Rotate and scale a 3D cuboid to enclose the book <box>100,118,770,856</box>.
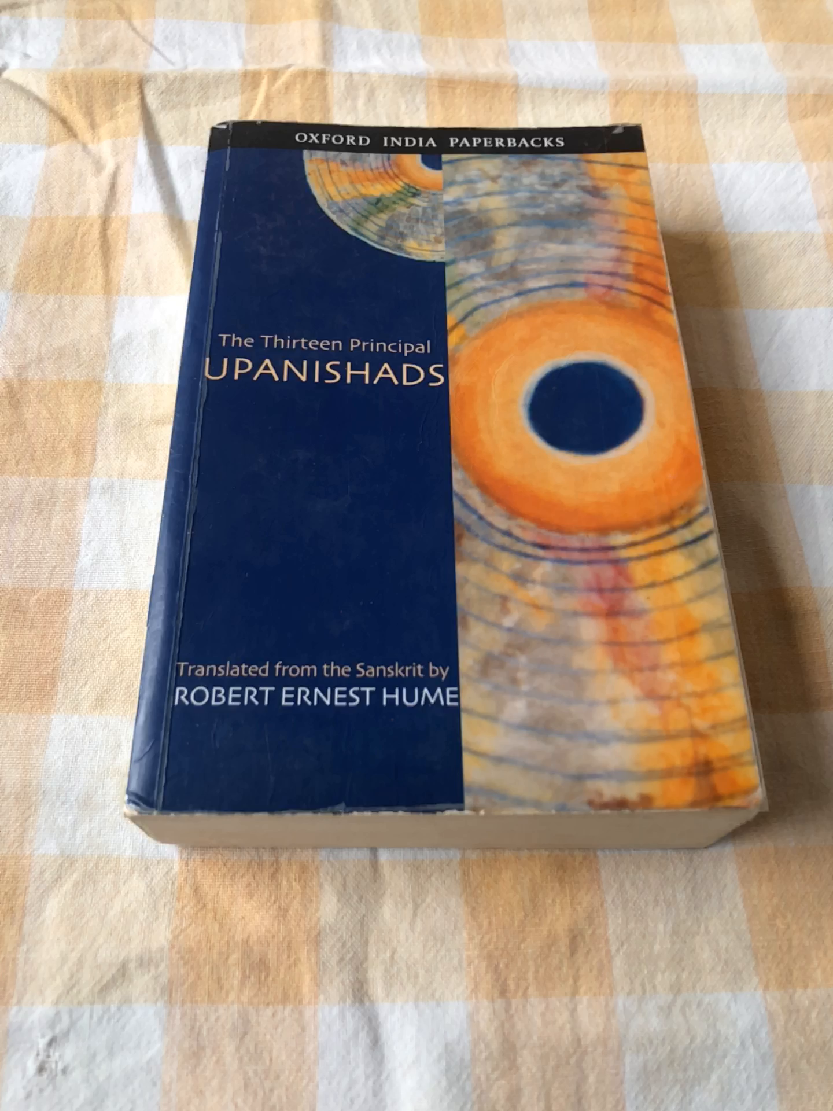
[{"bbox_3d":[0.002,-0.030,0.258,0.140,0.040,0.210,0,64,-3],"label":"book"}]
